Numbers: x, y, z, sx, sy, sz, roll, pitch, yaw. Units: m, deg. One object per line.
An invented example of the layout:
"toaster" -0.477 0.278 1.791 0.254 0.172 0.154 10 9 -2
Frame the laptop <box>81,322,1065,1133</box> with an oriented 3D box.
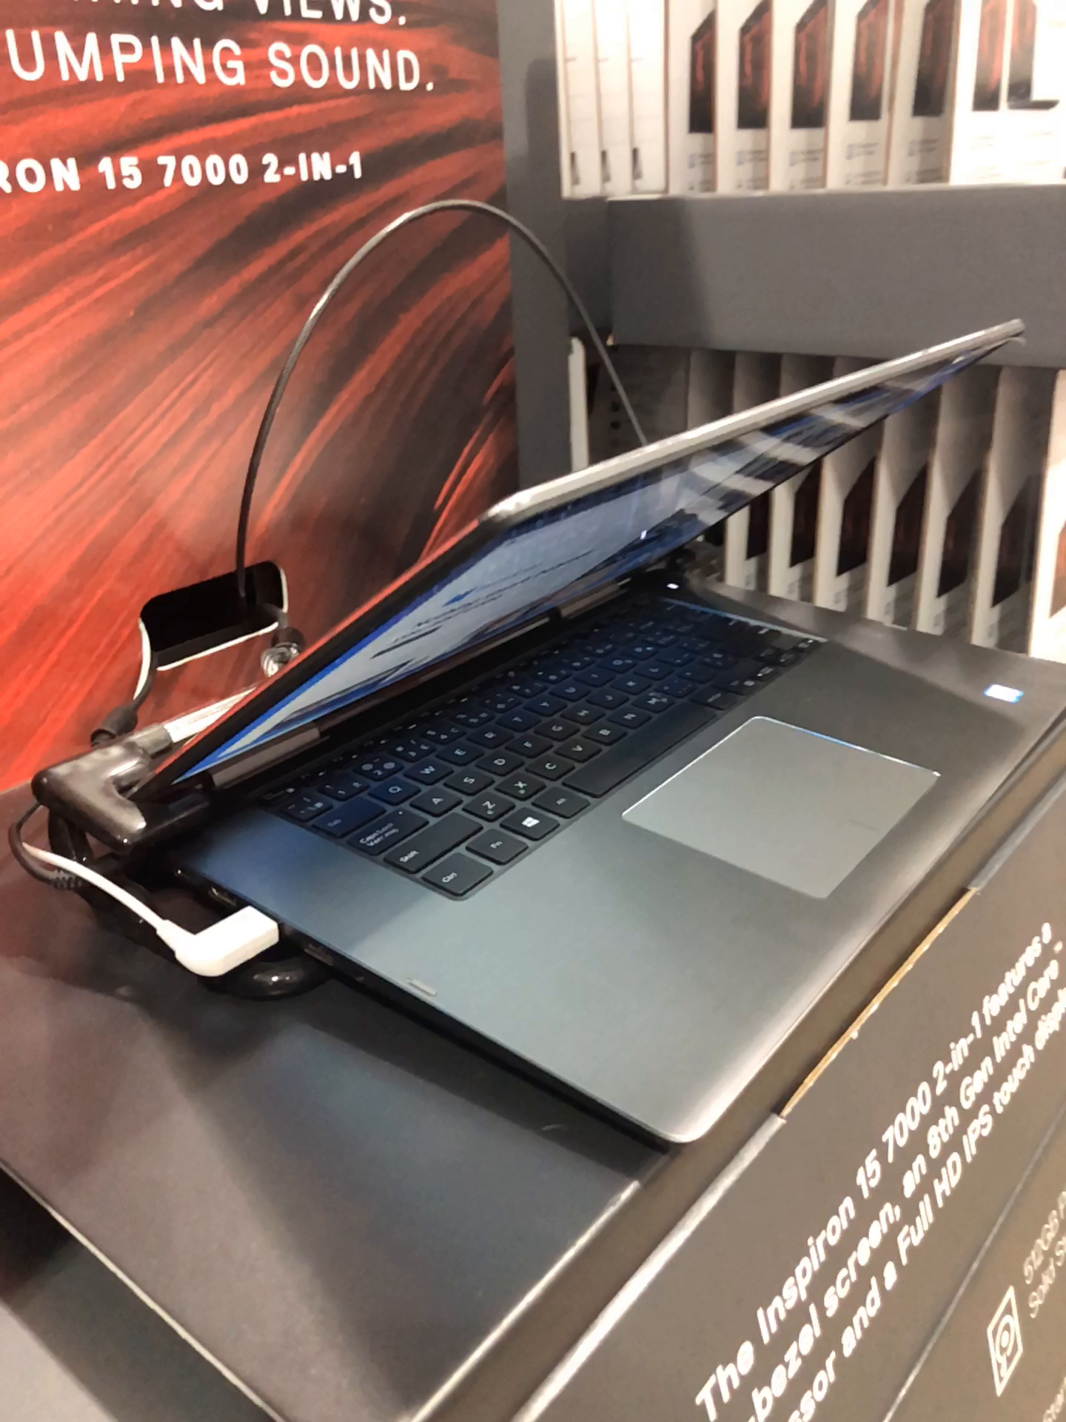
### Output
"laptop" 0.061 -0.048 0.453 0.212 0.137 0.356 18 31 34
